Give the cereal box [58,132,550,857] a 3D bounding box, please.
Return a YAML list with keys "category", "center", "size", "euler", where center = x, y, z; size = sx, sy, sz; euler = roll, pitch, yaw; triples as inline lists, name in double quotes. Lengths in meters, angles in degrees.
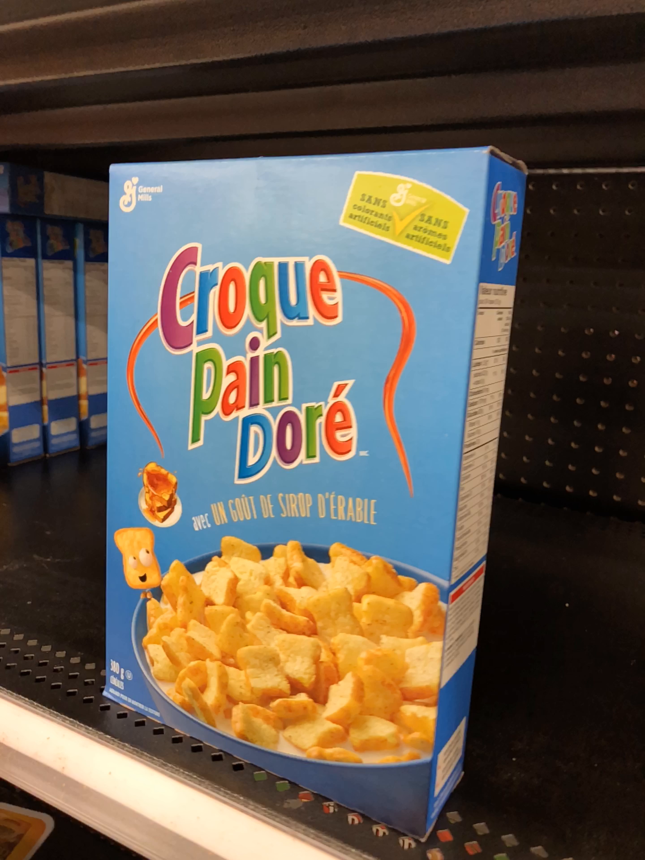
- category: "cereal box"
  center: [-0.023, 0.016, 0.331]
  size: [0.210, 0.269, 0.060]
  euler: [9, 13, 29]
